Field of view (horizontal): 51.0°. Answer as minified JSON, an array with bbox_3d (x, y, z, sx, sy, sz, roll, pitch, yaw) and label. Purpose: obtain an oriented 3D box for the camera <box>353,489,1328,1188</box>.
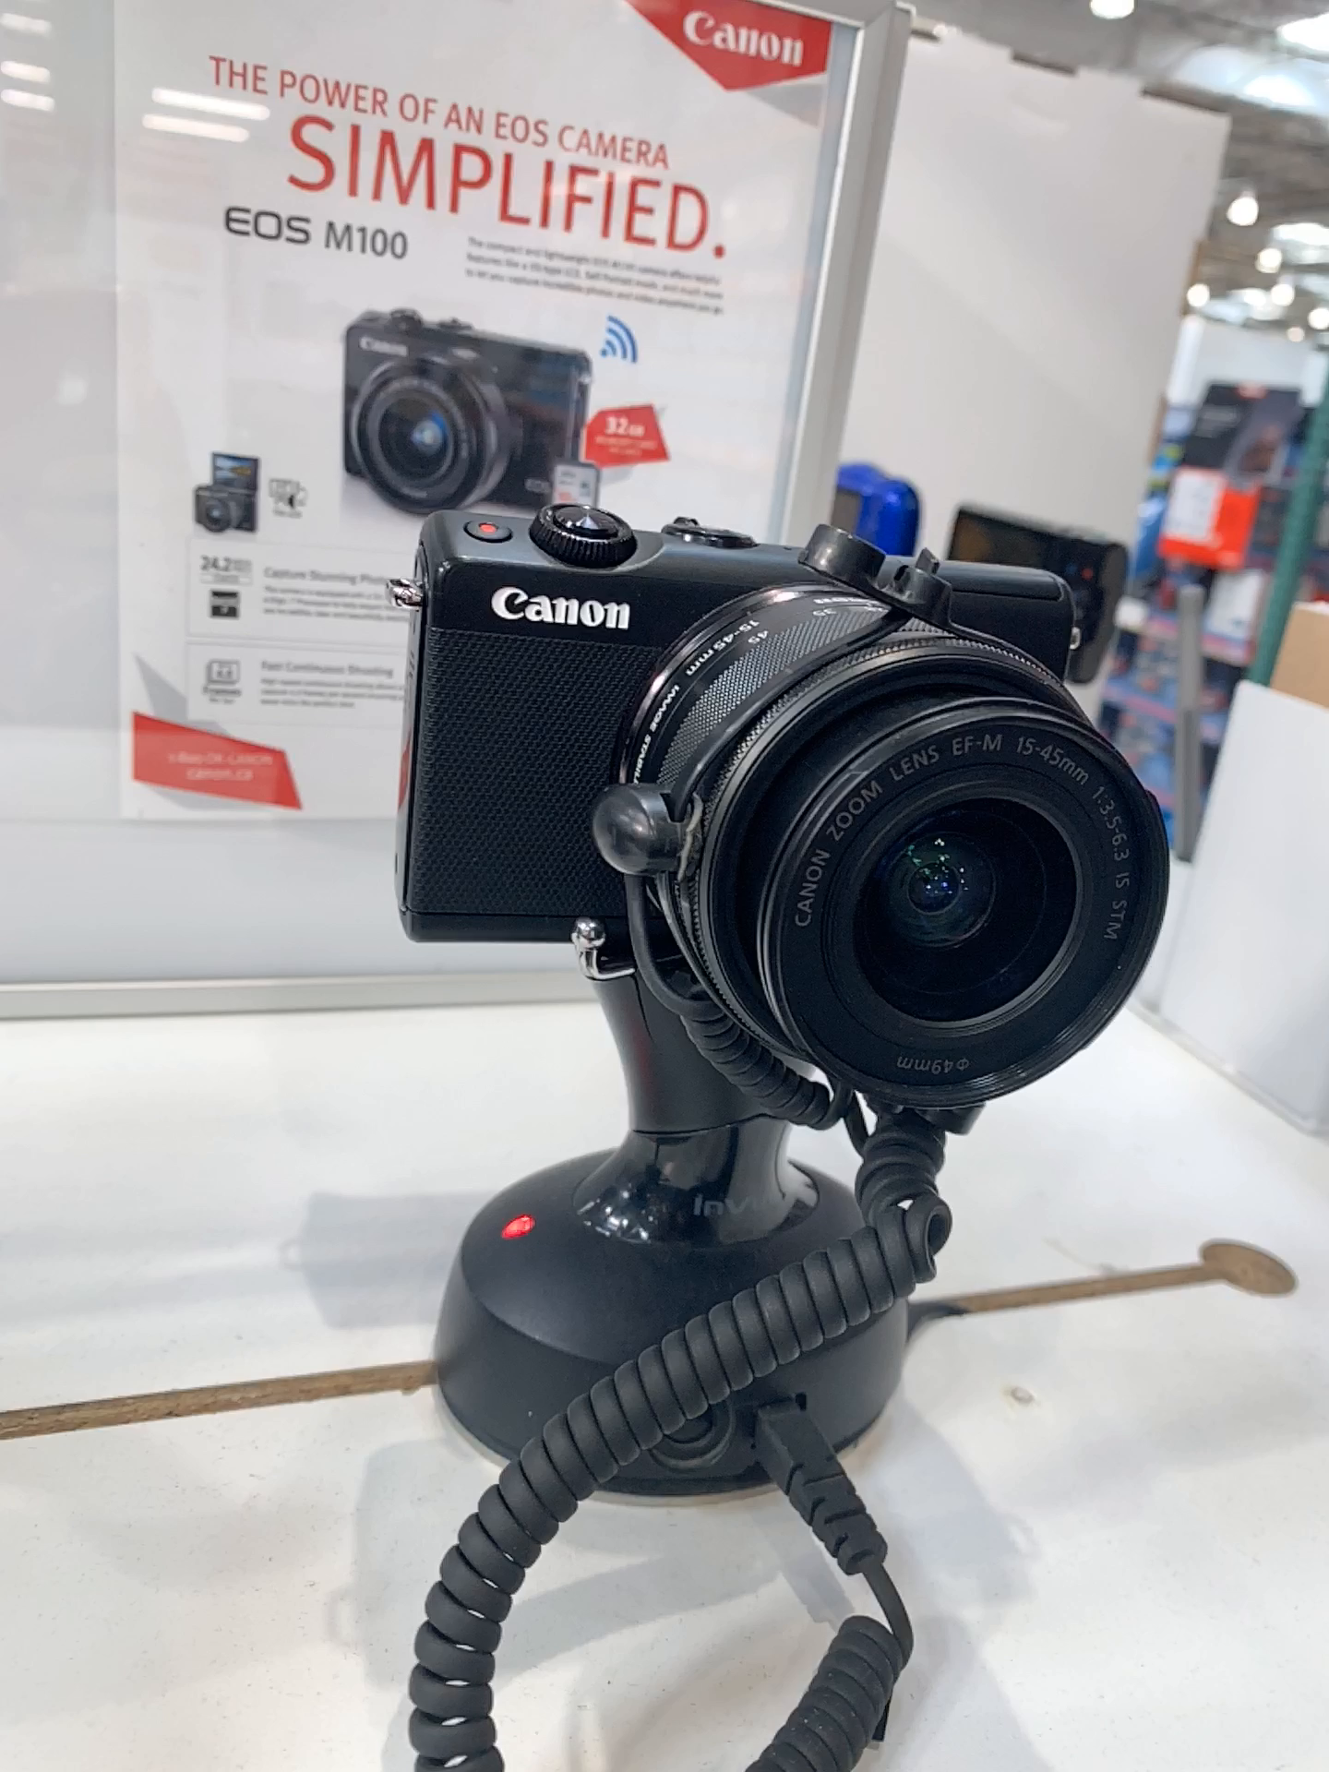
[{"bbox_3d":[0.018,-0.013,0.190,0.110,0.066,0.093,2,15,-17],"label":"camera"}]
